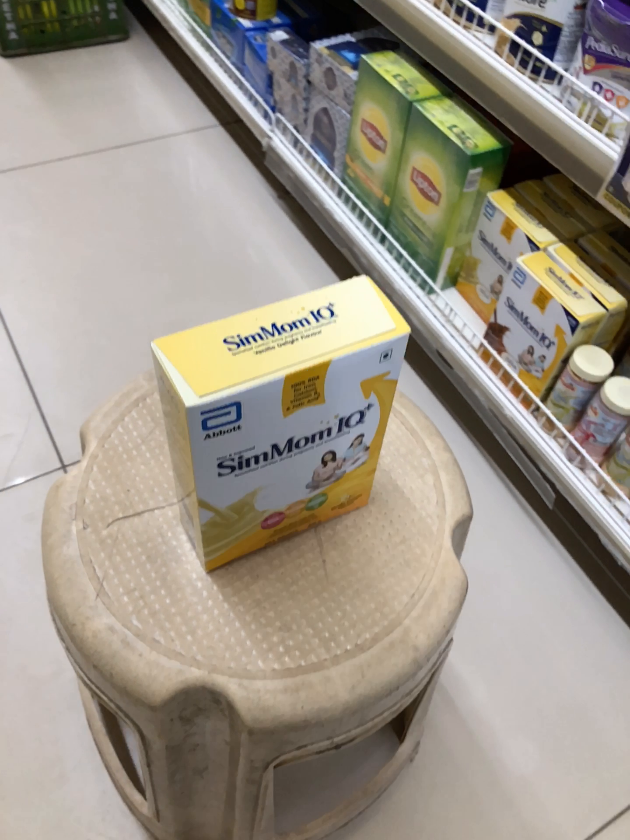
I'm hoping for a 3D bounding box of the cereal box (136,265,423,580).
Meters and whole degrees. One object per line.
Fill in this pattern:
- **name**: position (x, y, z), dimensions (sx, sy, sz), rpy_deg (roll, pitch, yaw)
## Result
- **cereal box**: position (-0.024, 0.012, 0.440), dimensions (0.140, 0.199, 0.050), rpy_deg (-21, 59, -19)
